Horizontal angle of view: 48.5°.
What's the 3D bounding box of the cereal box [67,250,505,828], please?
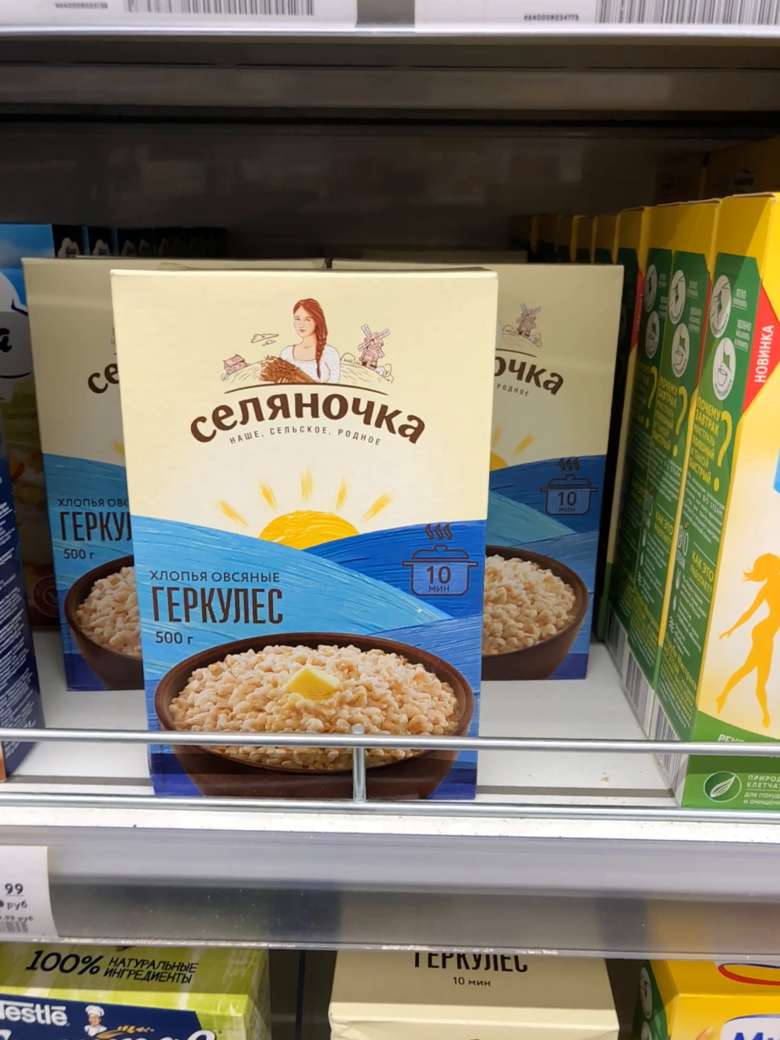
[{"bbox_3d":[-0.030,0.007,0.315,0.130,0.199,0.060,1,18,2],"label":"cereal box"}]
